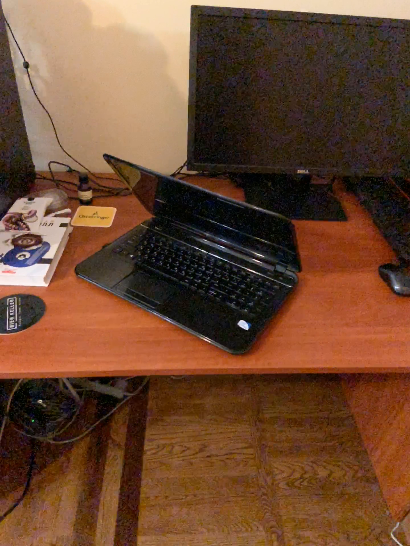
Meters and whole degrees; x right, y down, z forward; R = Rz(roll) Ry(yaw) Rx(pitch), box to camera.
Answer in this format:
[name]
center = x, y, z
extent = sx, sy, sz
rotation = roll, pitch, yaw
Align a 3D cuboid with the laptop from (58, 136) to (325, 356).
[laptop]
center = -0.025, -0.075, 0.746
extent = 0.370, 0.194, 0.245
rotation = 23, 41, 24
